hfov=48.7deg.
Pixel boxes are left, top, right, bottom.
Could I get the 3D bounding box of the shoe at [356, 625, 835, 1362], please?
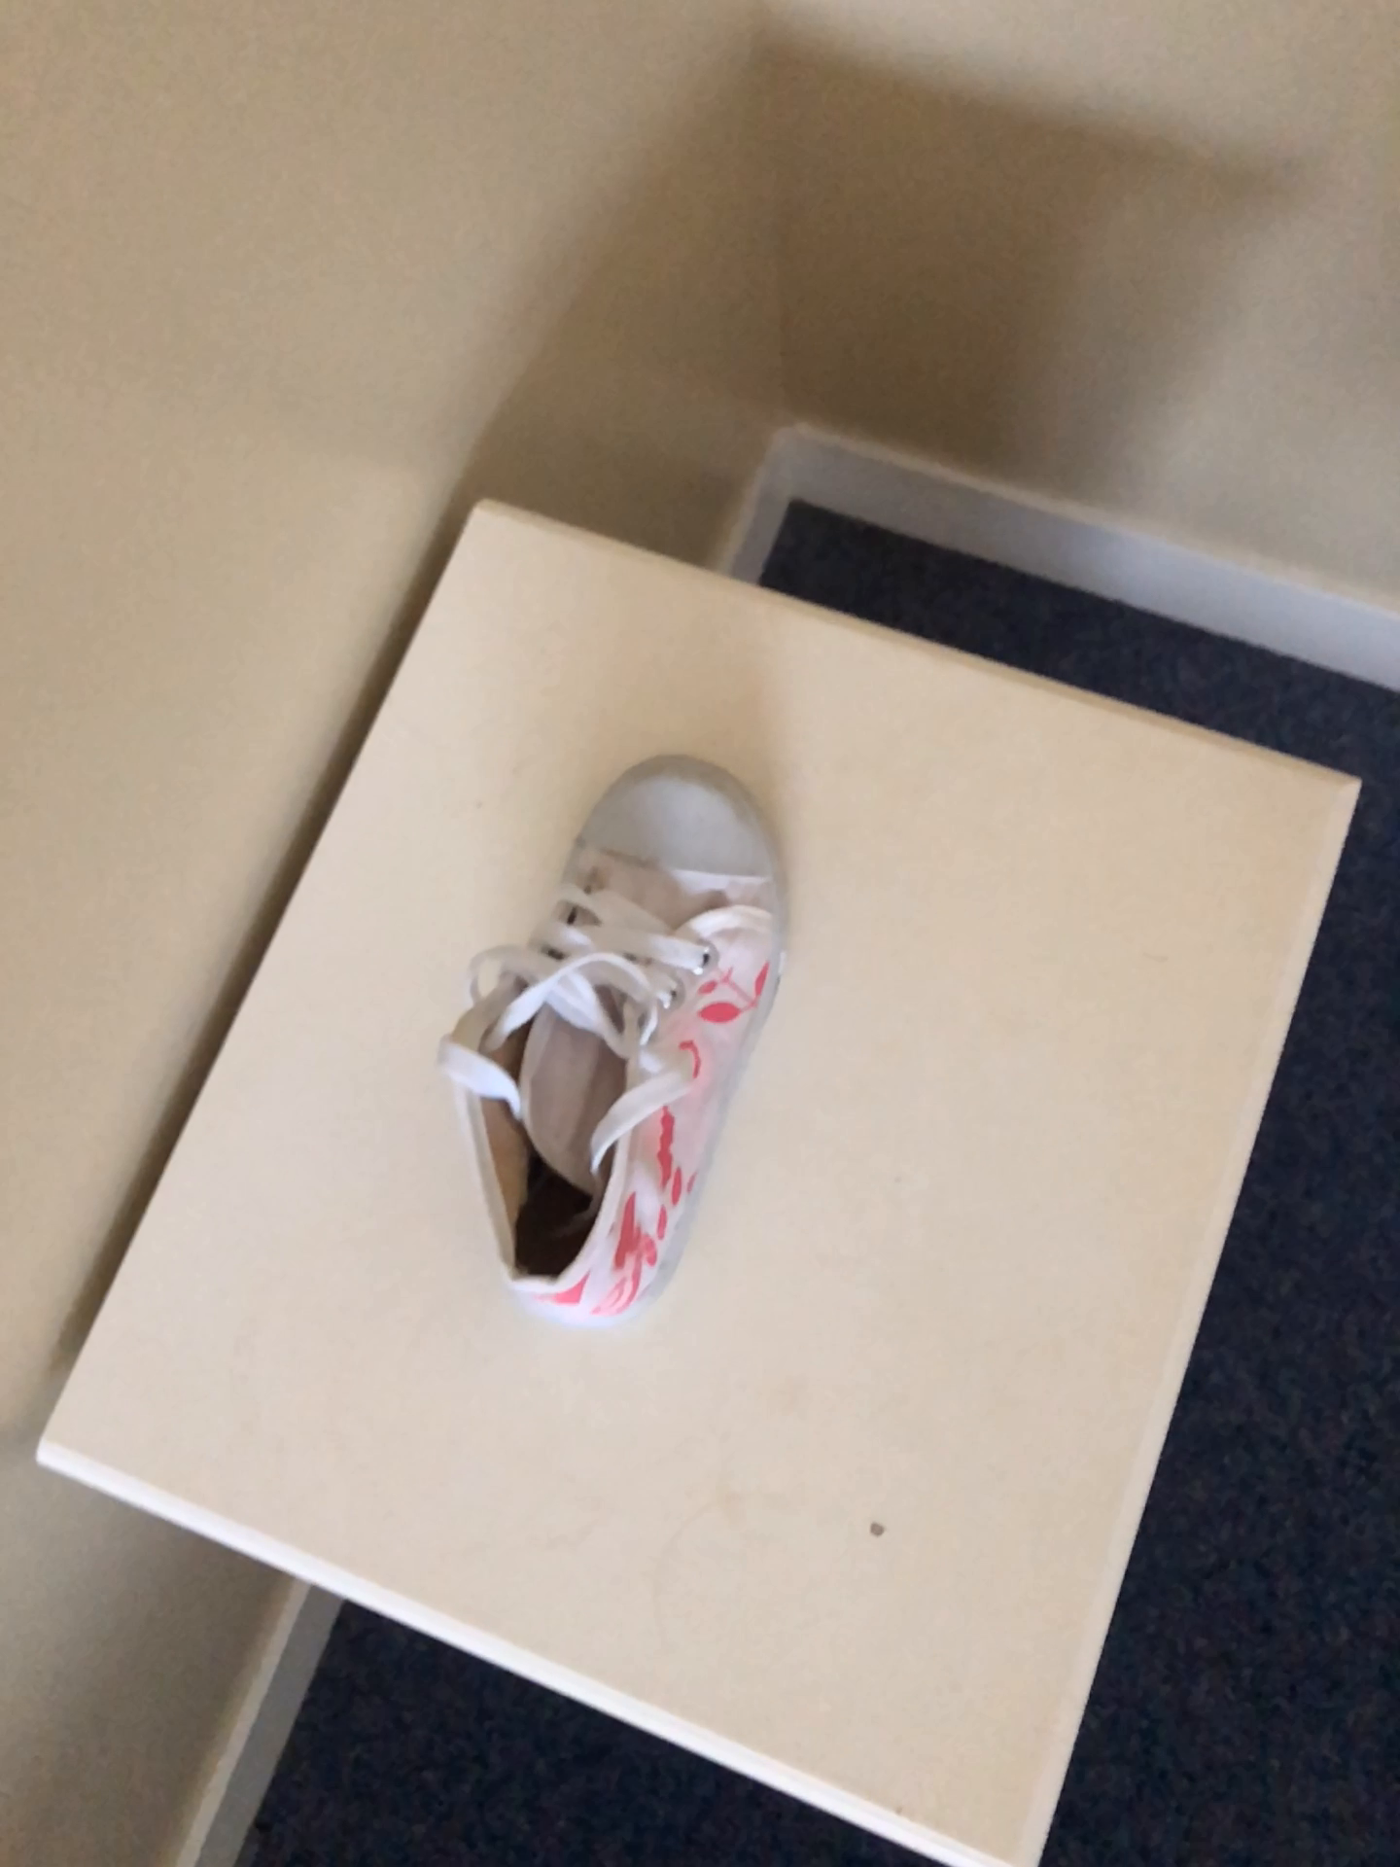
[{"bbox_3d":[-0.022,0.023,0.466,0.080,0.100,0.190,14,76,8],"label":"shoe"}]
